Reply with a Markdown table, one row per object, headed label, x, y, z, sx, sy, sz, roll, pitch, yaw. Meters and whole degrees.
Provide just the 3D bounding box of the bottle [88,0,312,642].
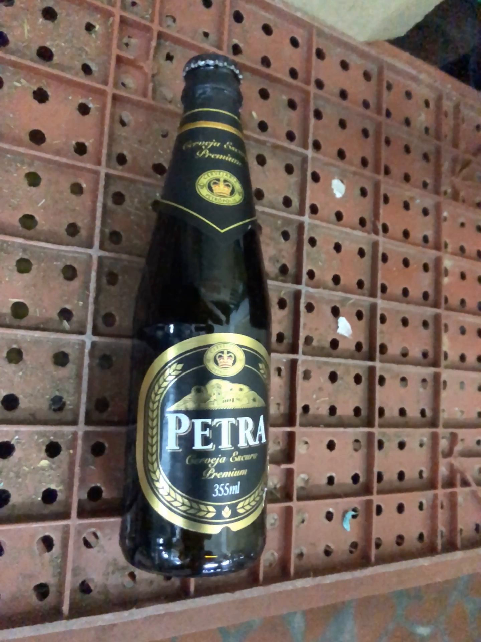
| label | x | y | z | sx | sy | sz | roll | pitch | yaw |
| --- | --- | --- | --- | --- | --- | --- | --- | --- | --- |
| bottle | -0.017 | -0.015 | 0.231 | 0.070 | 0.060 | 0.250 | 5 | 82 | -31 |
